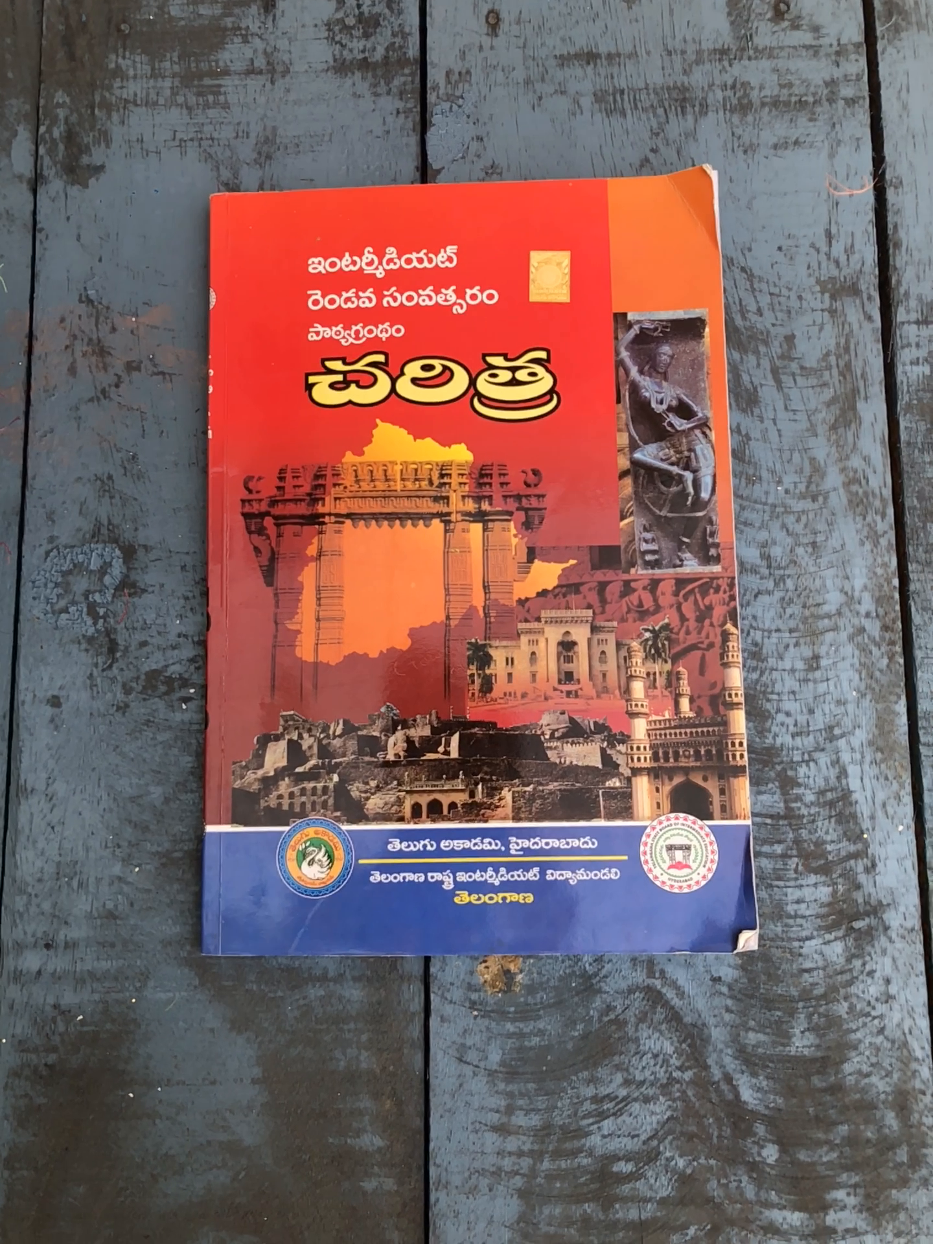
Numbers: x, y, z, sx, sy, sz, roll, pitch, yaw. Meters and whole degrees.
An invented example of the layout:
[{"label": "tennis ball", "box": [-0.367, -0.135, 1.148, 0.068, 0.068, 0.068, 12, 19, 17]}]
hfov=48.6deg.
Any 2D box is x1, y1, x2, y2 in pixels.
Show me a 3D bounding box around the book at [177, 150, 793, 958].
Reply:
[{"label": "book", "box": [0.005, -0.027, 0.360, 0.190, 0.040, 0.270, 0, 81, 1]}]
